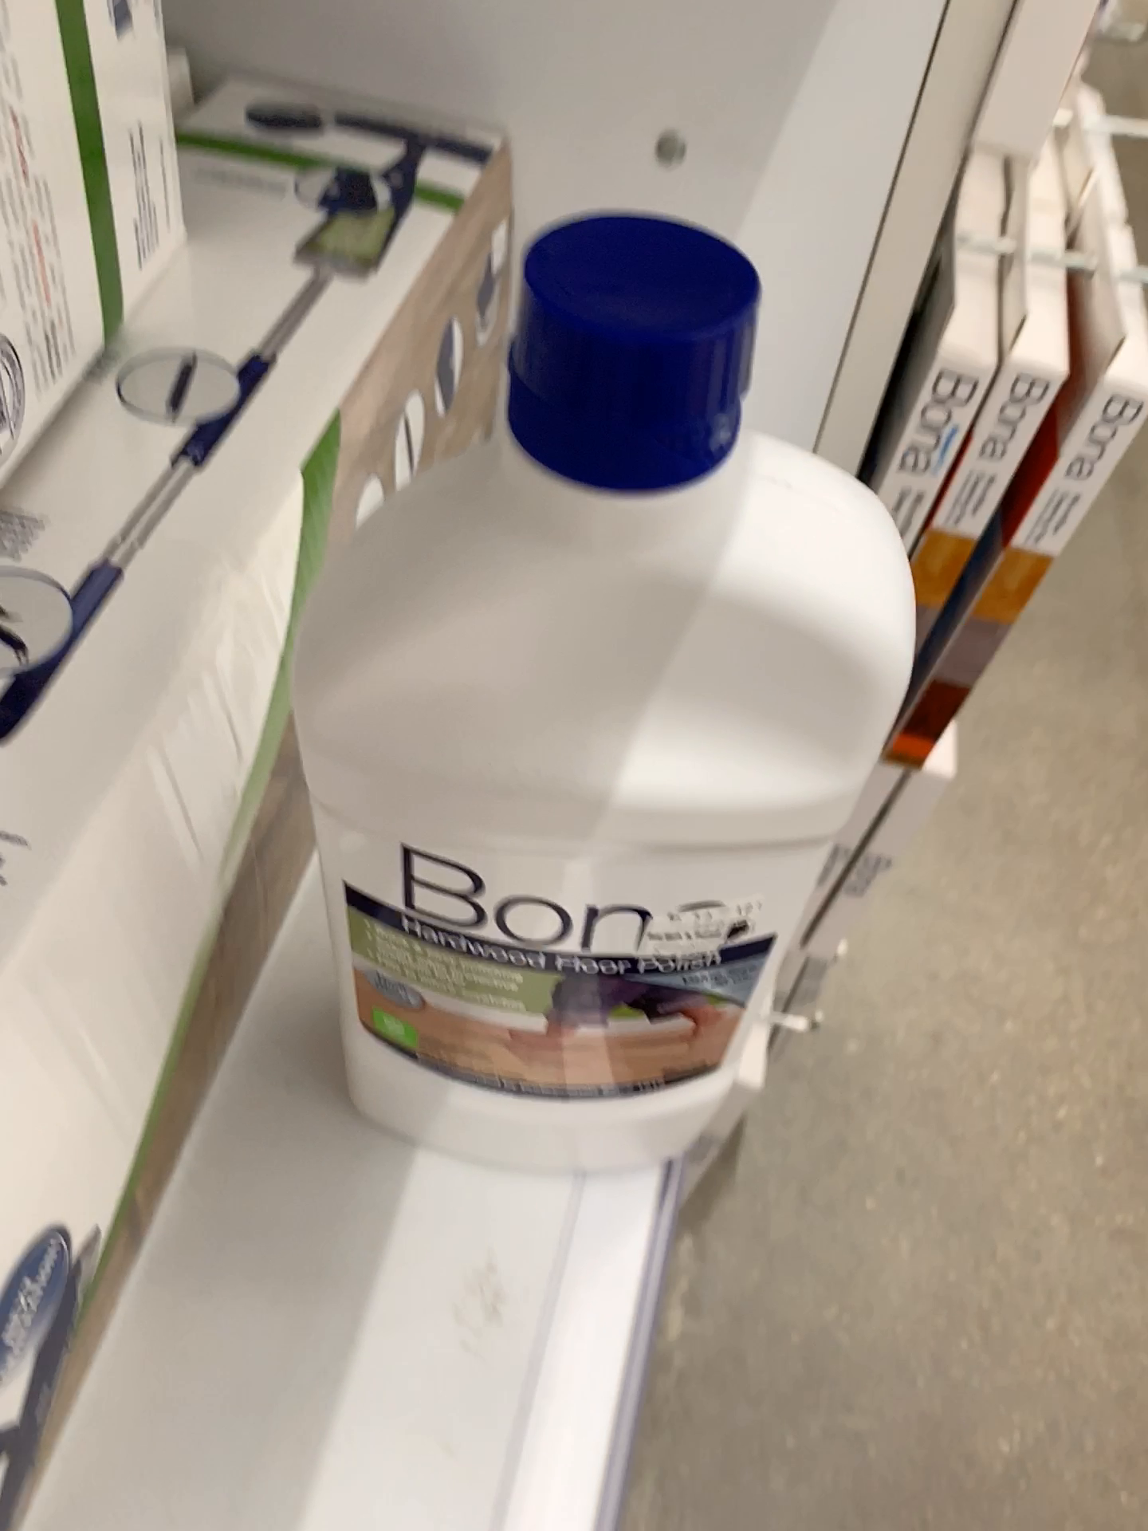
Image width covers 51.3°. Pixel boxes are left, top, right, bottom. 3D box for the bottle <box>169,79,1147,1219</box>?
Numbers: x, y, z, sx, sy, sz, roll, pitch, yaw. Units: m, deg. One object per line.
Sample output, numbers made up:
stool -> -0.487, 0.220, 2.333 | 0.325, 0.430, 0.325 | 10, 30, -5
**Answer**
bottle -> 0.004, 0.013, 0.256 | 0.120, 0.259, 0.070 | 6, 51, -3
